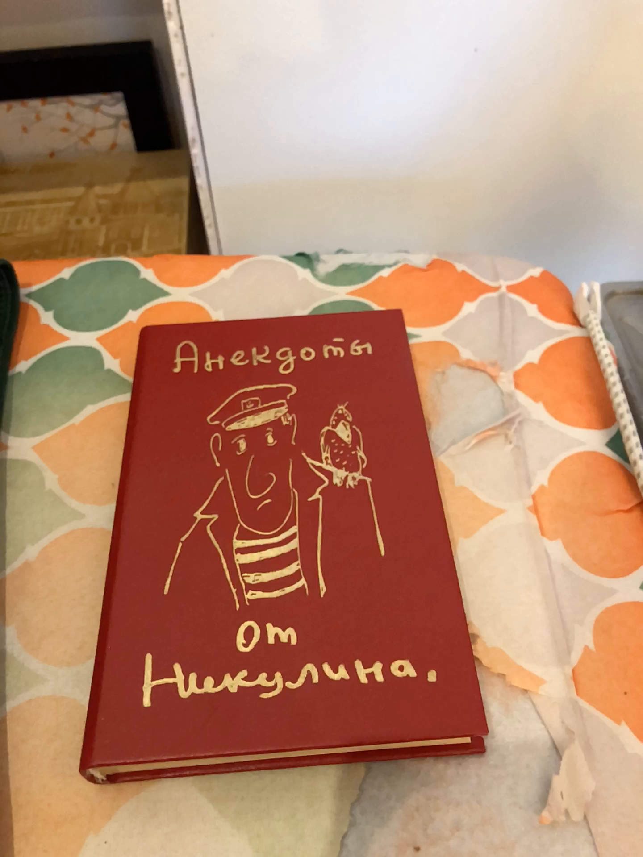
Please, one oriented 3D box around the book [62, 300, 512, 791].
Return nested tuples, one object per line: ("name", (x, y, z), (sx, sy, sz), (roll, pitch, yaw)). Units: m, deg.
("book", (-0.017, 0.030, 0.300), (0.140, 0.030, 0.208), (-4, 50, -1))
